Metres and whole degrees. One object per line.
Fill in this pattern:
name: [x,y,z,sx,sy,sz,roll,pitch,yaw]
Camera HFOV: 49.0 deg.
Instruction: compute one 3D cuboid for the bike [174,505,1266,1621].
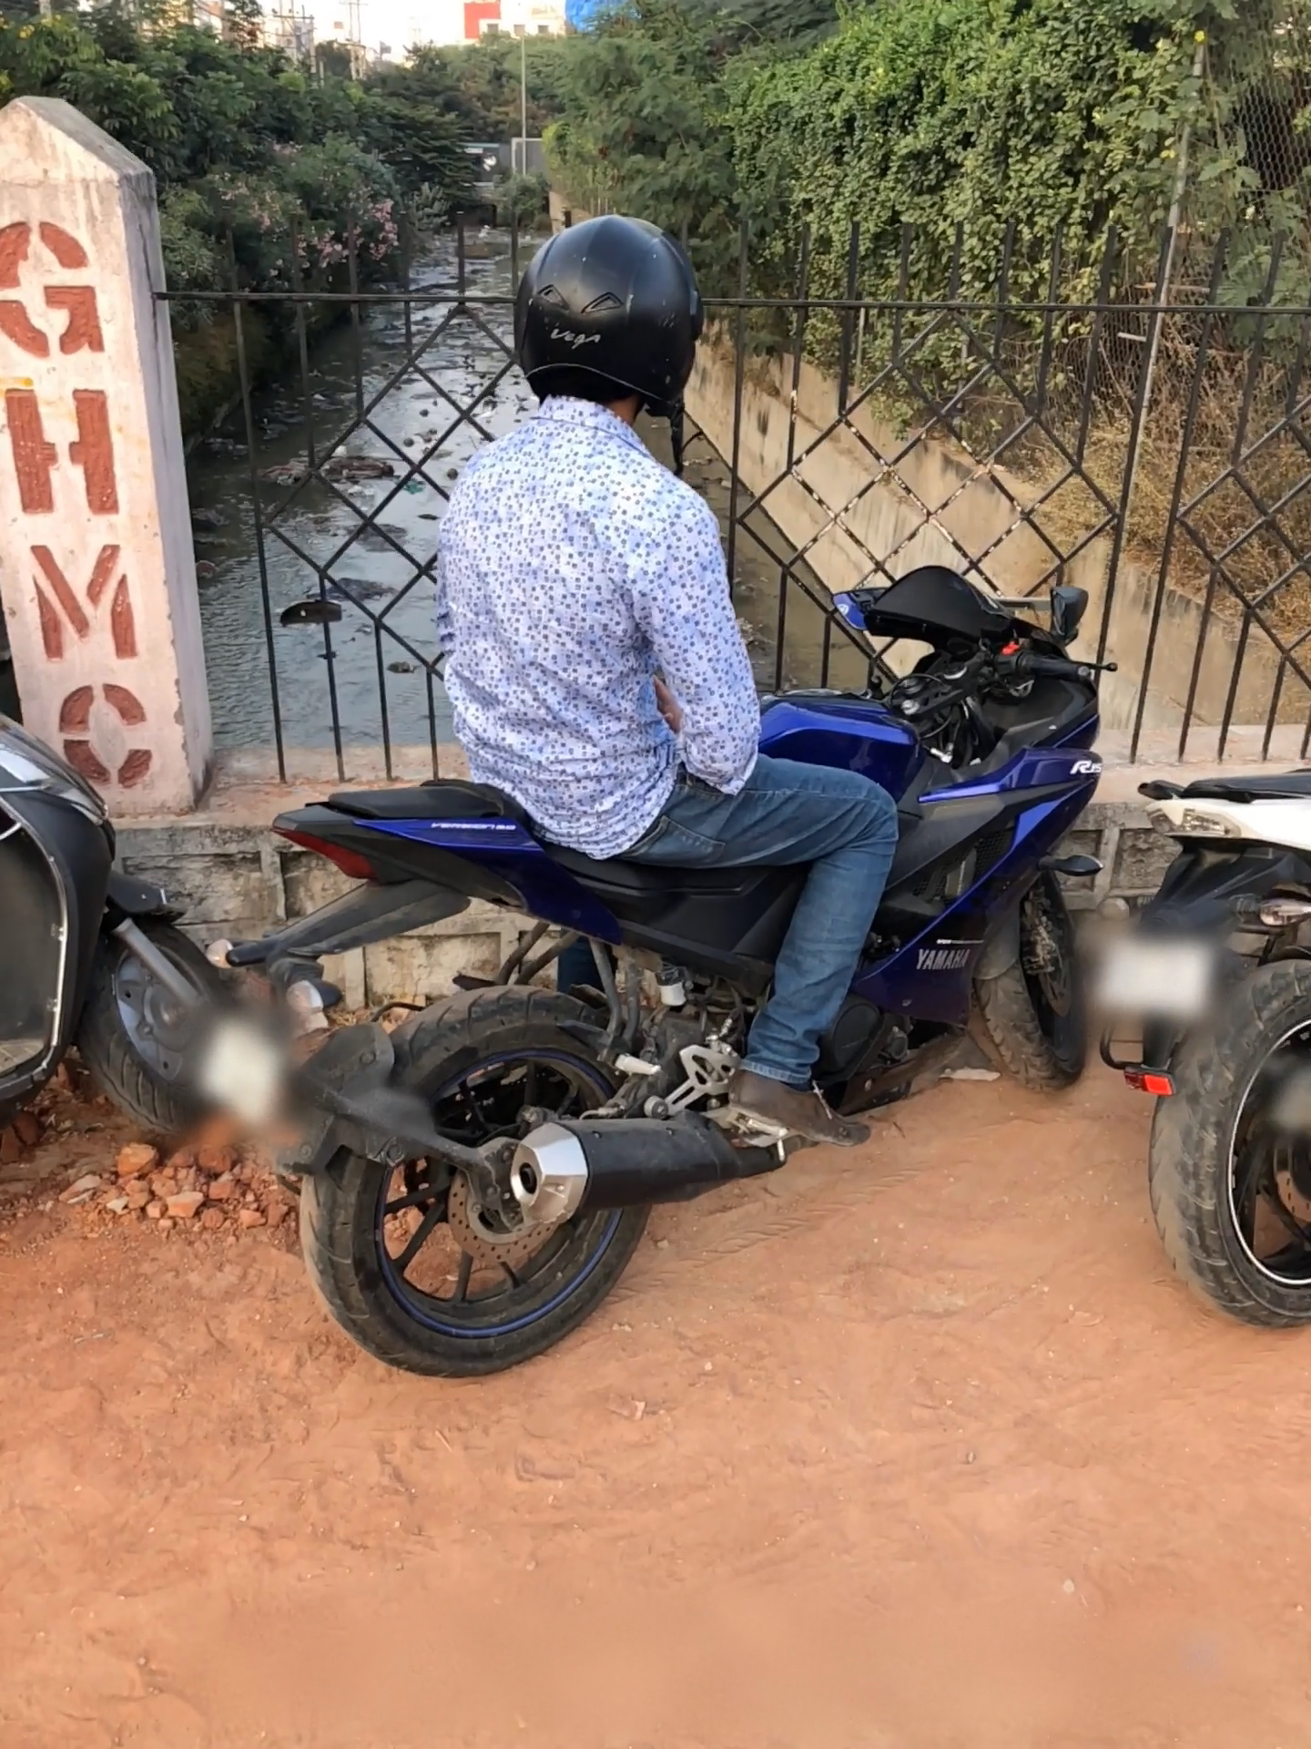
bike: [0.248,0.086,2.576,0.732,0.994,1.952,23,35,37]
